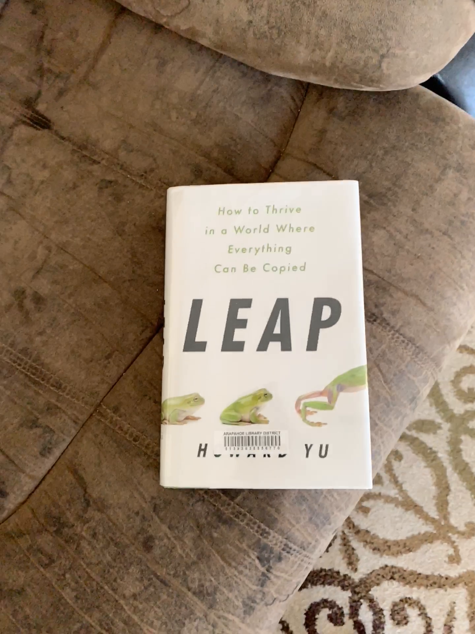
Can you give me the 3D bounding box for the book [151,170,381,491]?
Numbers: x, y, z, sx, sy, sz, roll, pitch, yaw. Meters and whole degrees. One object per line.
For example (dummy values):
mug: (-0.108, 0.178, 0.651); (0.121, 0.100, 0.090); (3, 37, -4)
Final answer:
book: (0.018, 0.009, 0.382); (0.160, 0.040, 0.235); (-2, 79, 6)
